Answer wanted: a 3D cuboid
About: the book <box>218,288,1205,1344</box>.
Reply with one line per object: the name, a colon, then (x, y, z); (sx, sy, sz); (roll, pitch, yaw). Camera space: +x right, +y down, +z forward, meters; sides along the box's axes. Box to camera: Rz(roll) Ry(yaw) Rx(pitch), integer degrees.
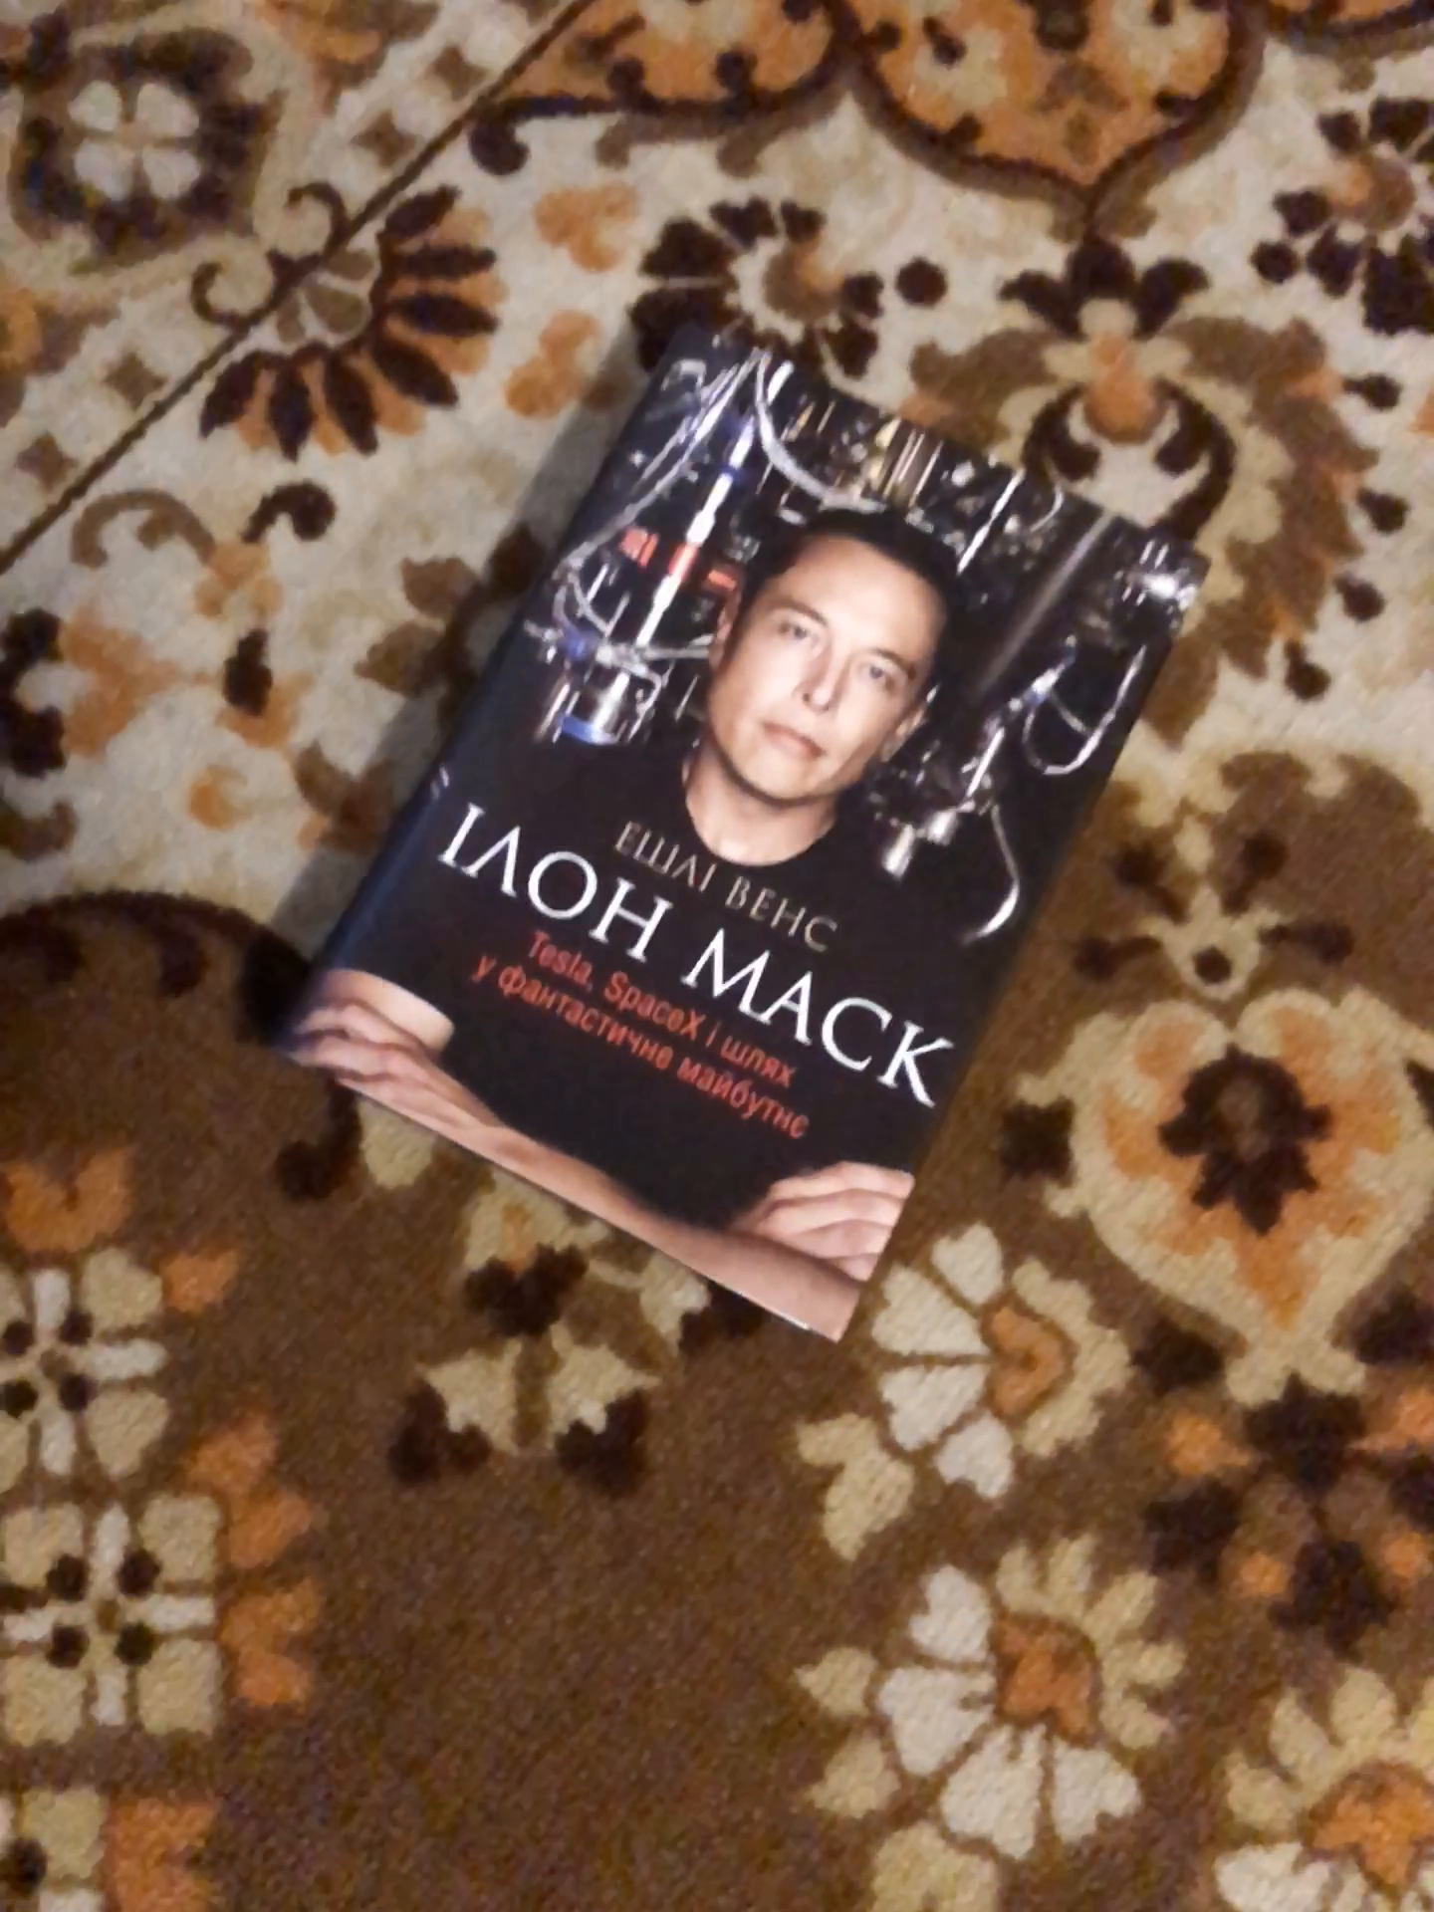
book: (0.003, -0.044, 0.464); (0.184, 0.050, 0.250); (26, 79, 4)
